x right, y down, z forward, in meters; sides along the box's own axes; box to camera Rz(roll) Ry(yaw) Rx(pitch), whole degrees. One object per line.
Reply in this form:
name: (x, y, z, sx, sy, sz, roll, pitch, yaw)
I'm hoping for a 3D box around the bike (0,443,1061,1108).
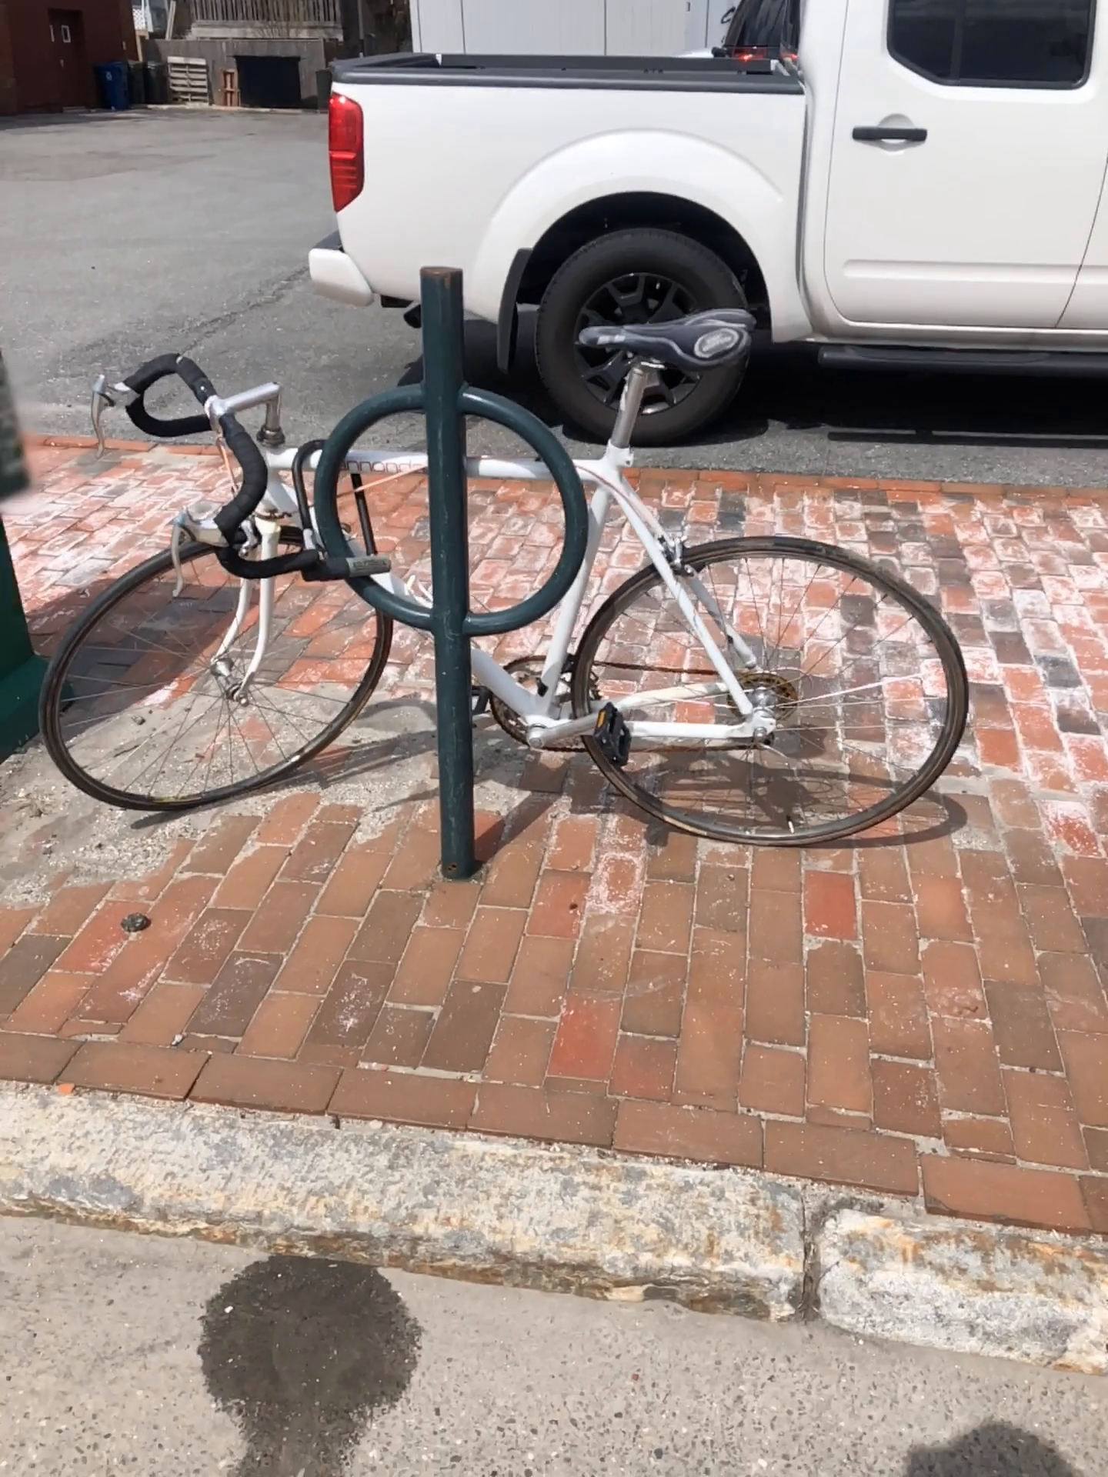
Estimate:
bike: (-0.083, 0.038, 1.603, 1.274, 0.650, 0.467, -2, 29, 1)
